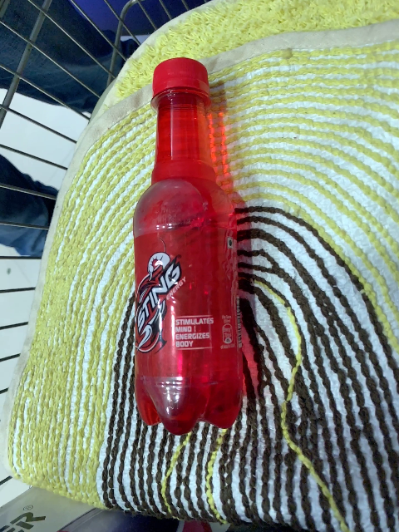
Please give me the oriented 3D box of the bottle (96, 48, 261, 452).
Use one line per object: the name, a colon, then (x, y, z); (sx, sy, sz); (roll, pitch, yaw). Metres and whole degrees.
bottle: (-0.011, -0.007, 0.202); (0.060, 0.040, 0.170); (-6, 84, 26)
